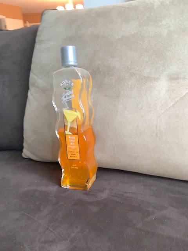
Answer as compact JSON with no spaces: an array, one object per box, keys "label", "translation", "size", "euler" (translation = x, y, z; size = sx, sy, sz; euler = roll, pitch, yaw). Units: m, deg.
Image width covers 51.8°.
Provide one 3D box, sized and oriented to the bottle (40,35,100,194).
[{"label":"bottle","translation":[-0.044,-0.019,0.415],"size":[0.080,0.299,0.080],"euler":[-3,9,0]}]
